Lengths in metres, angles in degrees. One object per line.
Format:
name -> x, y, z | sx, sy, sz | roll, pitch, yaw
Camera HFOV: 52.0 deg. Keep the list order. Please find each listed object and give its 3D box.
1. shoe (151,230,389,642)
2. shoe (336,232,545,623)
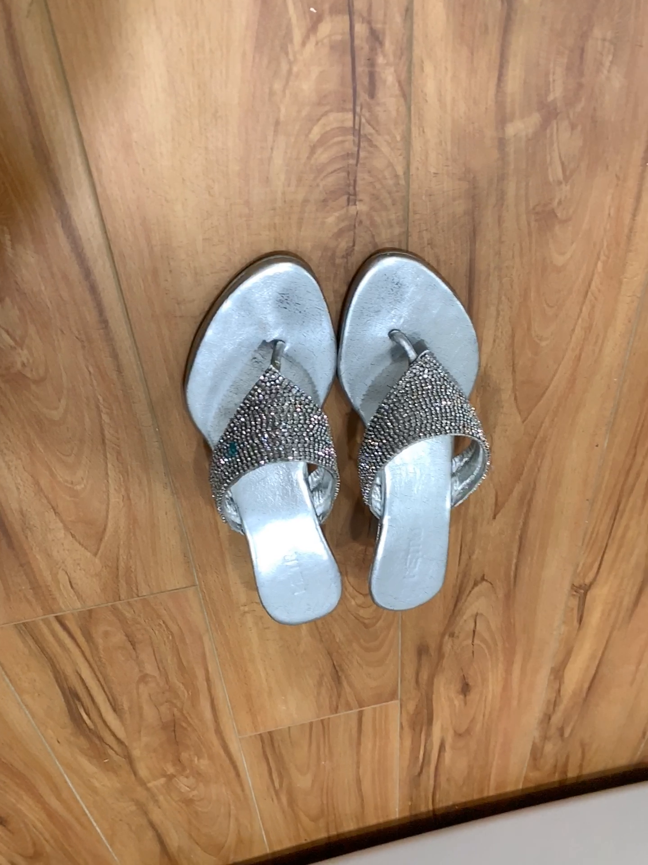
shoe -> -0.024, 0.013, 0.390 | 0.095, 0.073, 0.229 | -12, 128, -5
shoe -> 0.057, 0.006, 0.403 | 0.085, 0.073, 0.228 | -8, 127, -9
